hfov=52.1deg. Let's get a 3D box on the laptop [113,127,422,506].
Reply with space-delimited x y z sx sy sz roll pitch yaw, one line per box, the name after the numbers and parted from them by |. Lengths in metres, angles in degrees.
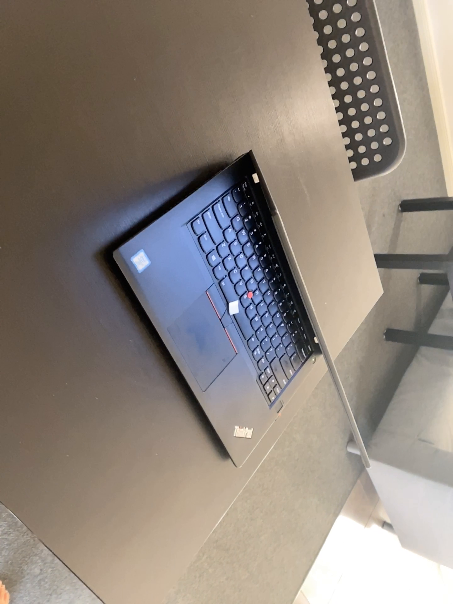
0.071 0.016 0.495 0.216 0.138 0.300 -46 125 -31 | laptop
